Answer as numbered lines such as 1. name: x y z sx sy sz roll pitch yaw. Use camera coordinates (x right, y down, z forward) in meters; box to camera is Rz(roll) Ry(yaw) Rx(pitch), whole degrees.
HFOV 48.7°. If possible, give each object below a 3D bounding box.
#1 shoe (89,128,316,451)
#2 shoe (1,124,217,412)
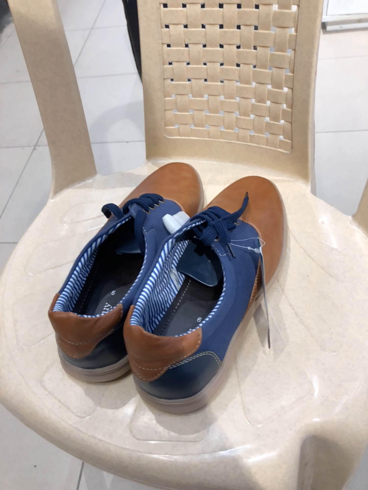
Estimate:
1. shoe: 0.037 0.026 0.372 0.103 0.120 0.252 13 56 19
2. shoe: -0.047 0.008 0.403 0.103 0.112 0.255 6 54 15
